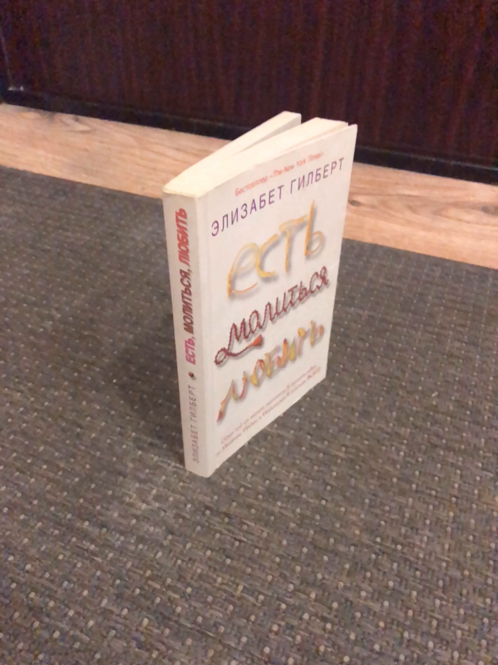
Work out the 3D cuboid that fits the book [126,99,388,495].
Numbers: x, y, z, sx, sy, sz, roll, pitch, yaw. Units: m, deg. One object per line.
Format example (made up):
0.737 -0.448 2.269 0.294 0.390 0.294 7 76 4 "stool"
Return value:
0.008 -0.024 0.381 0.068 0.213 0.161 27 44 26 "book"
